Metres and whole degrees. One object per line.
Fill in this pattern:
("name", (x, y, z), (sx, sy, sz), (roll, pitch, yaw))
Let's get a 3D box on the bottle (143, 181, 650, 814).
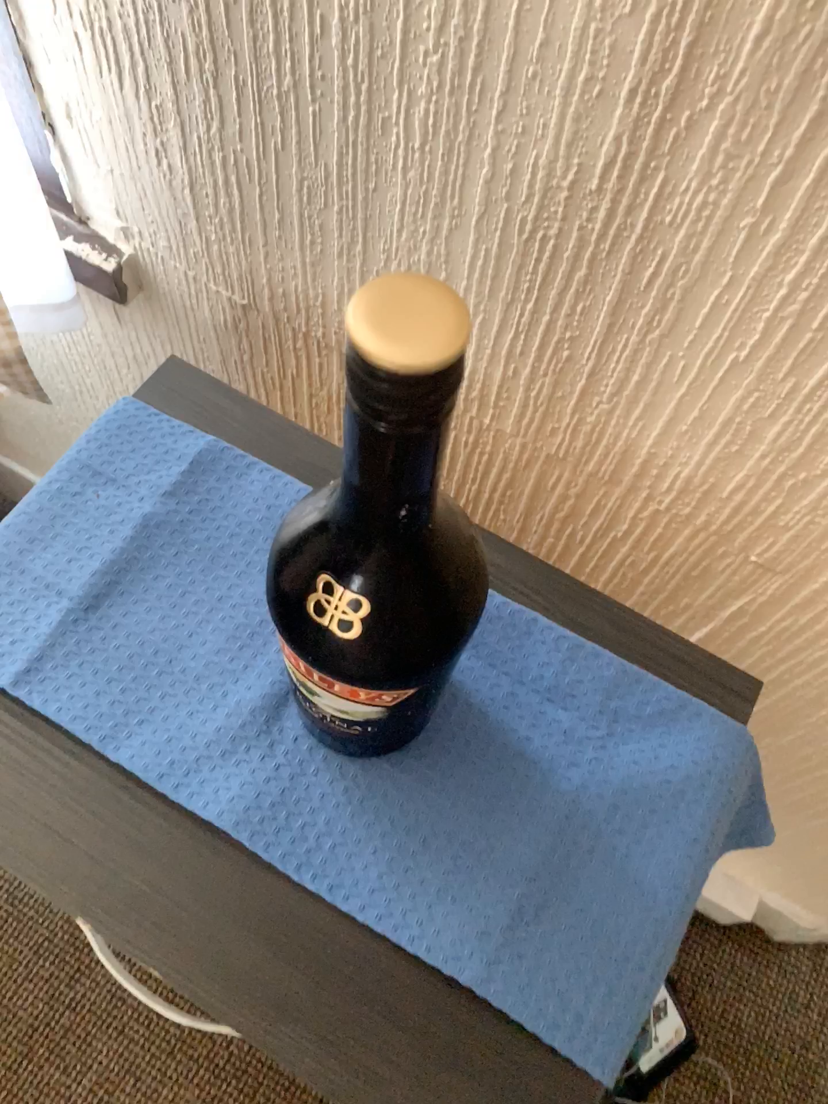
("bottle", (-0.013, 0.019, 0.318), (0.090, 0.288, 0.070), (30, 65, 10))
